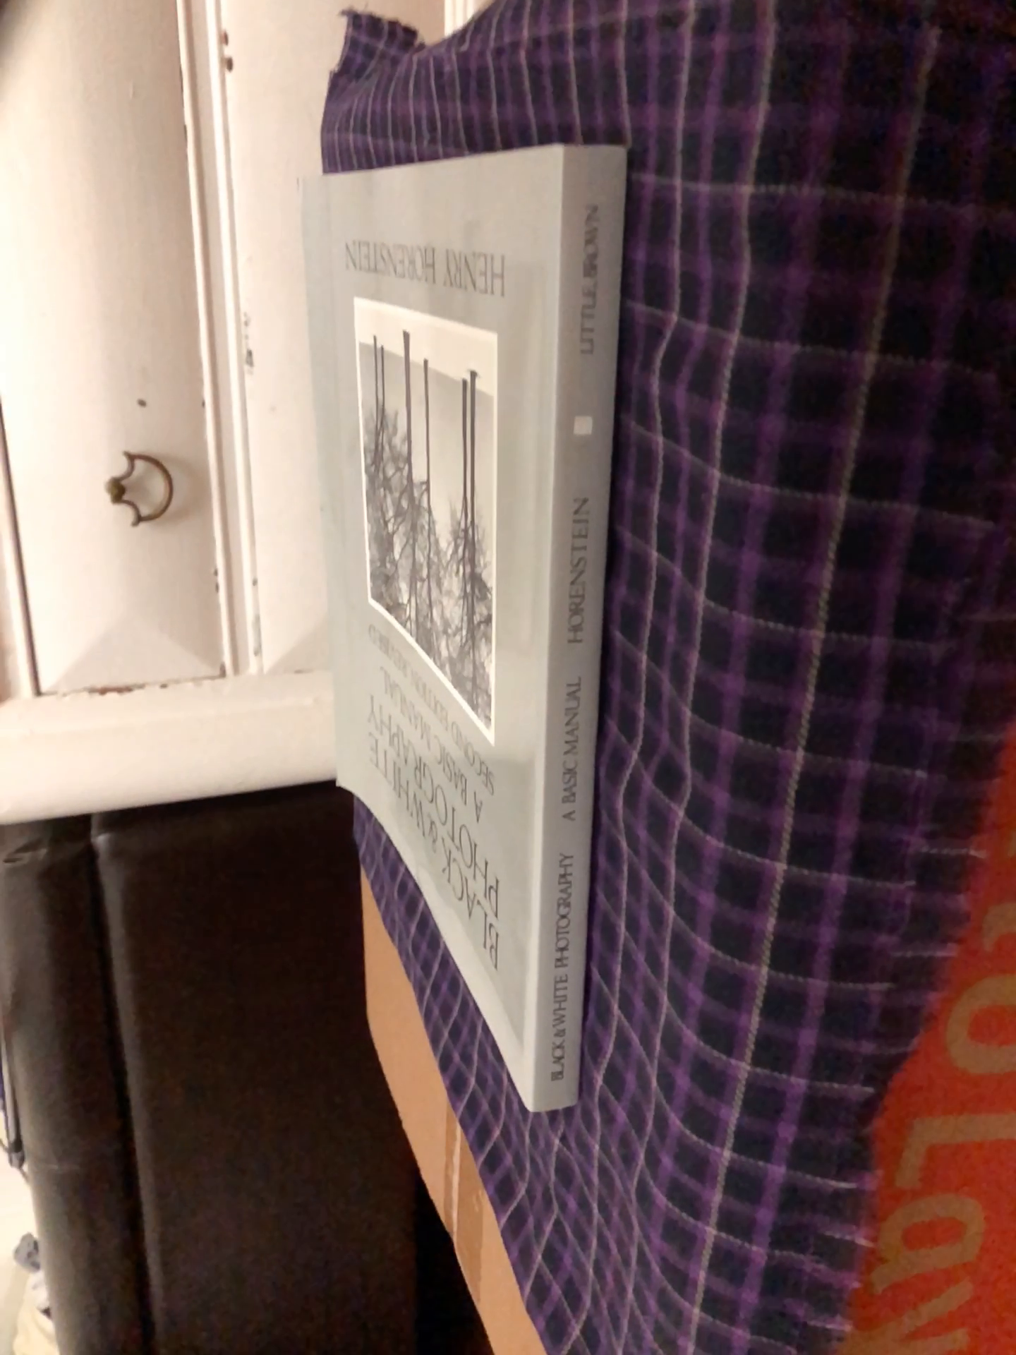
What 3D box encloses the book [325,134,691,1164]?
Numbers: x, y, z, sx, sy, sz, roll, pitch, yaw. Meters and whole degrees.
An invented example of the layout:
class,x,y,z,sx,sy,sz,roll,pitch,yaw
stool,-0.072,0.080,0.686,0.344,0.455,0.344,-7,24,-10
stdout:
class,x,y,z,sx,sy,sz,roll,pitch,yaw
book,-0.017,-0.024,0.352,0.211,0.030,0.250,-134,41,-61
